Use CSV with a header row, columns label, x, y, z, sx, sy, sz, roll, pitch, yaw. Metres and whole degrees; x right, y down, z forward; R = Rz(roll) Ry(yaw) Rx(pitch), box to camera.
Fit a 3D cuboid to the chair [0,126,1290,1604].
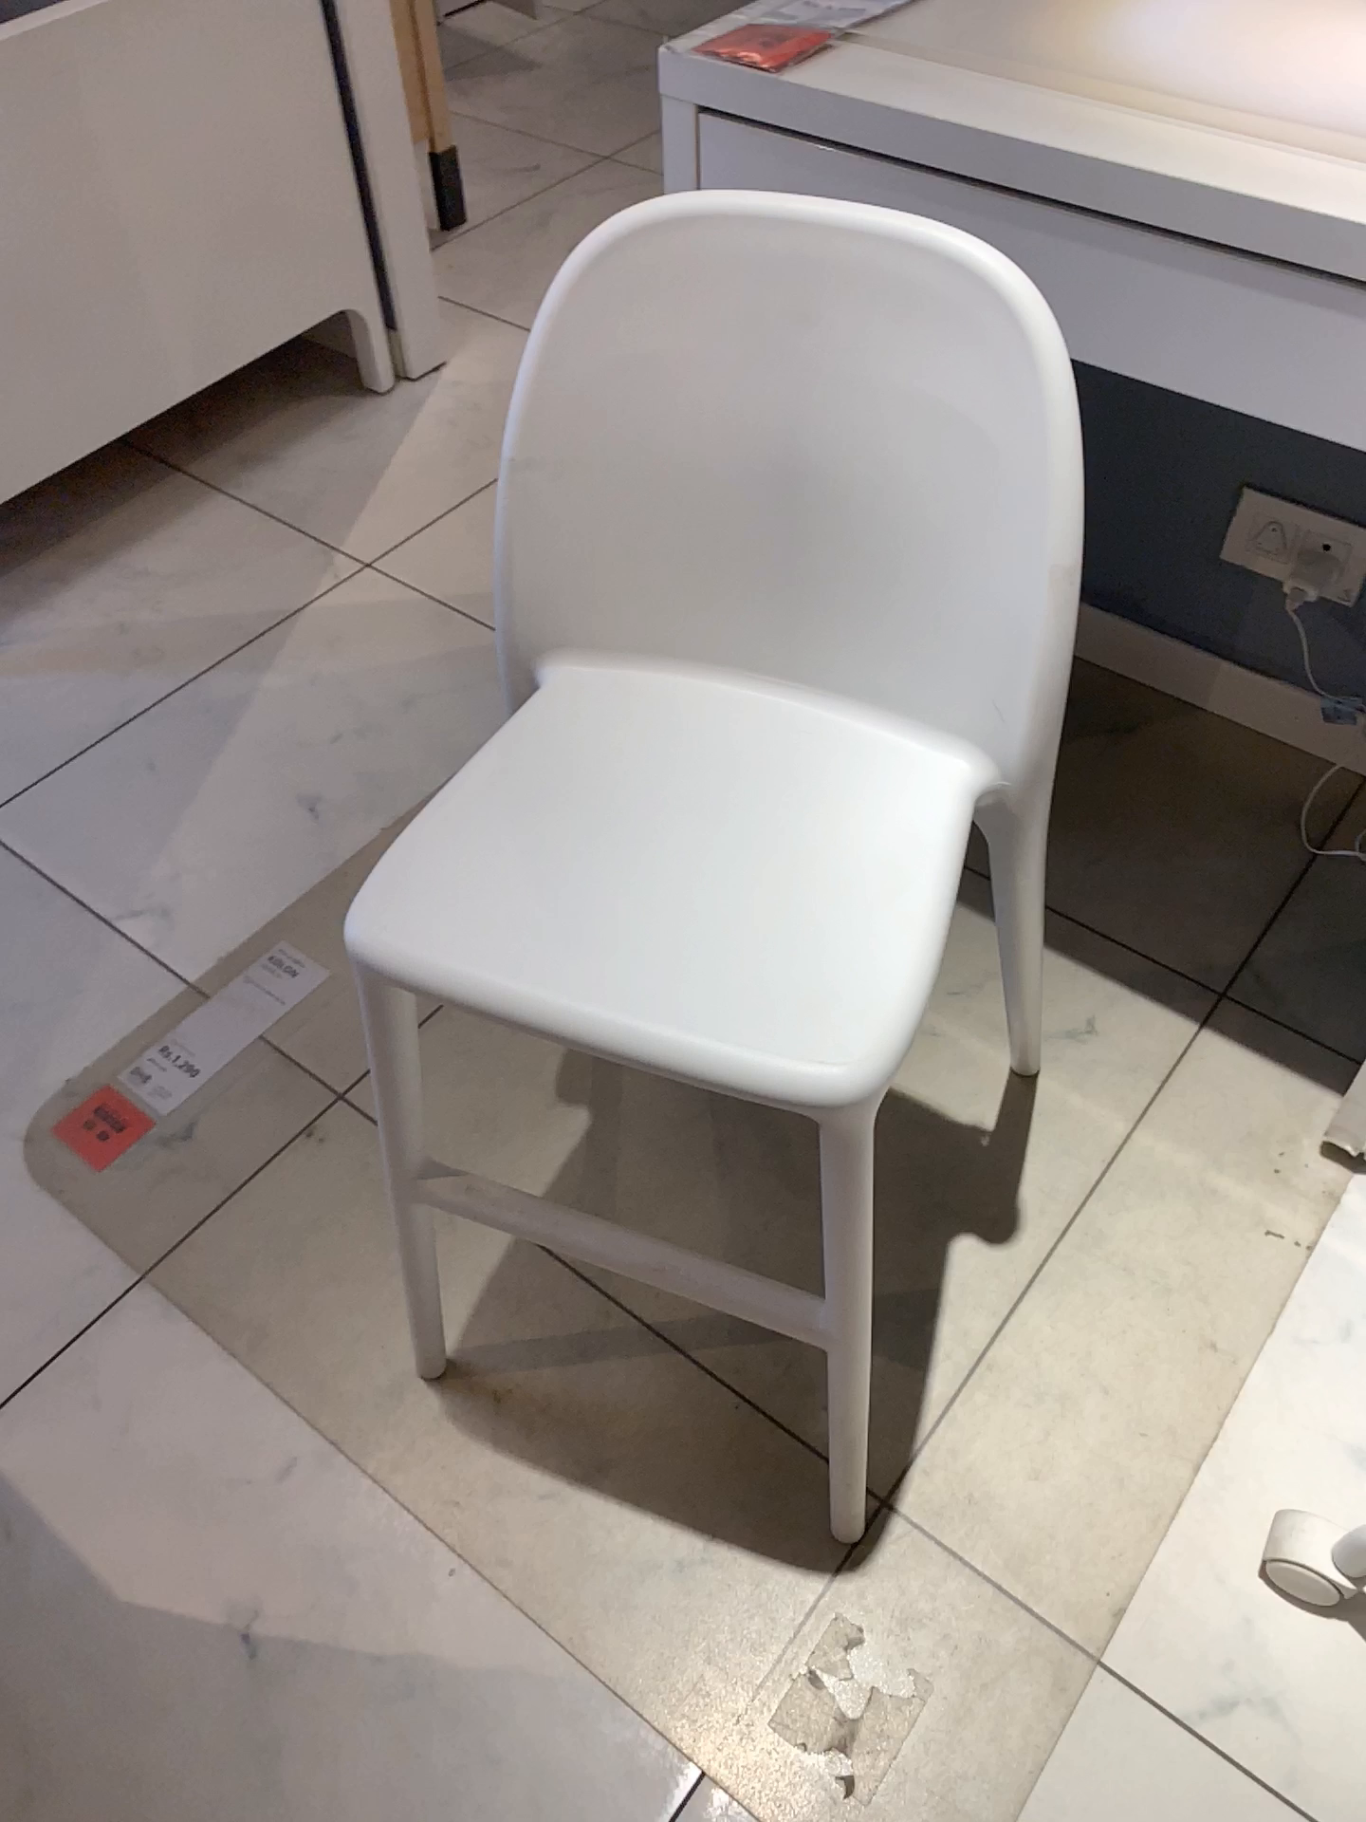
label,x,y,z,sx,sy,sz,roll,pitch,yaw
chair,0.018,0.004,0.897,0.450,0.728,0.491,16,51,16
